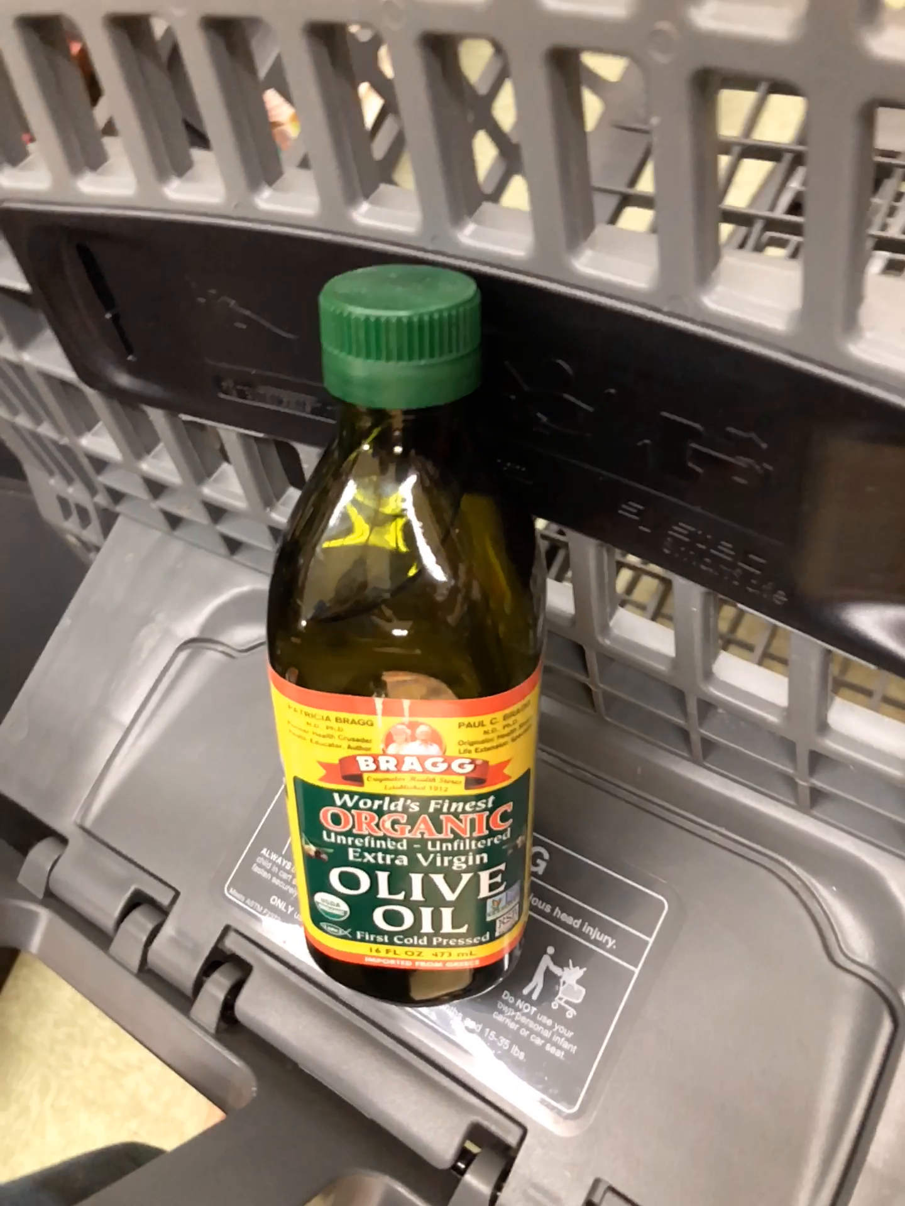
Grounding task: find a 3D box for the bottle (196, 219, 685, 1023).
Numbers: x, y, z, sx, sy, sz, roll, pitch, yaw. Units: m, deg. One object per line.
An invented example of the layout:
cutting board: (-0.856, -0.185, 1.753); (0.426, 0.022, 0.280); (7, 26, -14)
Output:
bottle: (-0.002, 0.015, 0.248); (0.080, 0.193, 0.070); (2, 36, 2)
